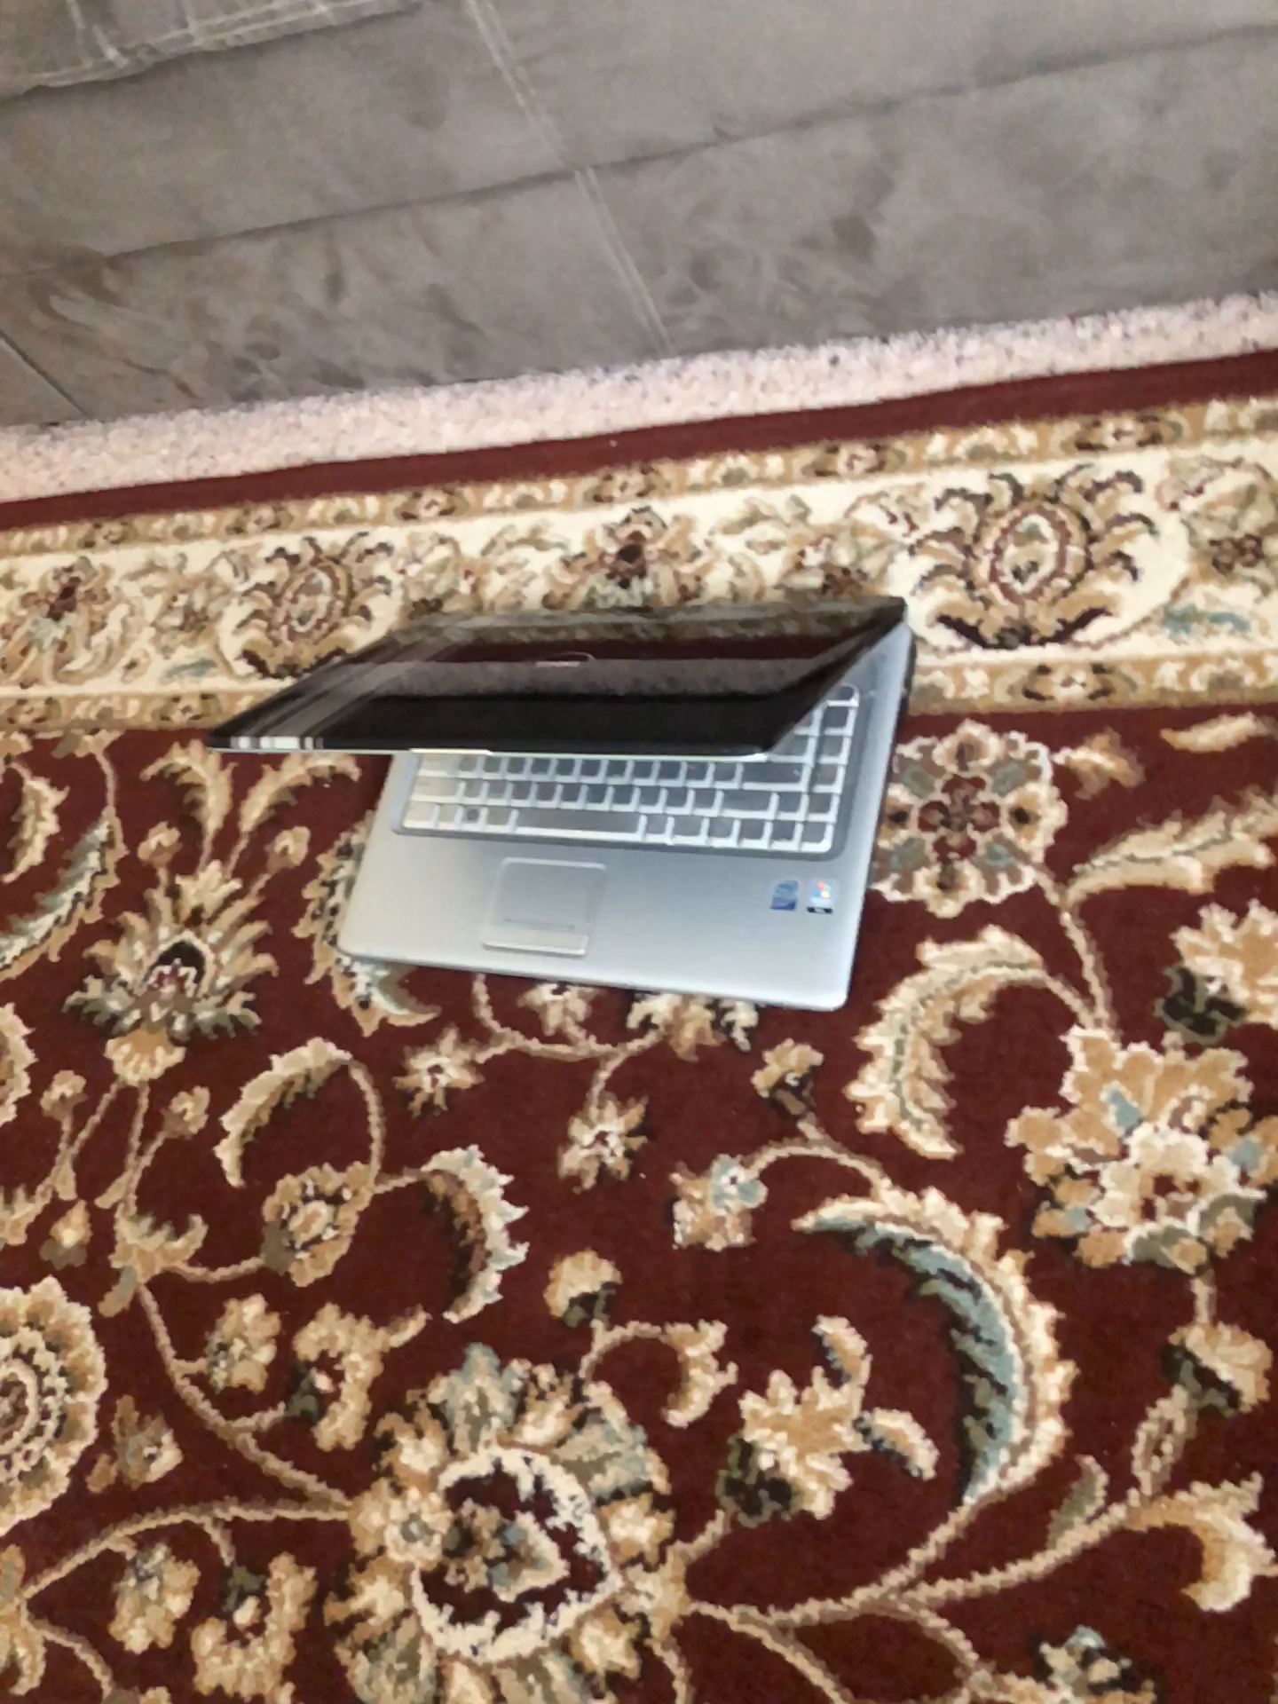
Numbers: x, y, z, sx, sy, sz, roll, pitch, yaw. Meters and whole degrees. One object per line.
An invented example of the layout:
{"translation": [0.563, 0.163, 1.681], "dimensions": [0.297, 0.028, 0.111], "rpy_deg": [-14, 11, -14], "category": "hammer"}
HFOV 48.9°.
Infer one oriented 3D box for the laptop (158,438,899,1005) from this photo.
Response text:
{"translation": [-0.056, -0.071, 0.815], "dimensions": [0.343, 0.164, 0.244], "rpy_deg": [3, 67, 27], "category": "laptop"}
